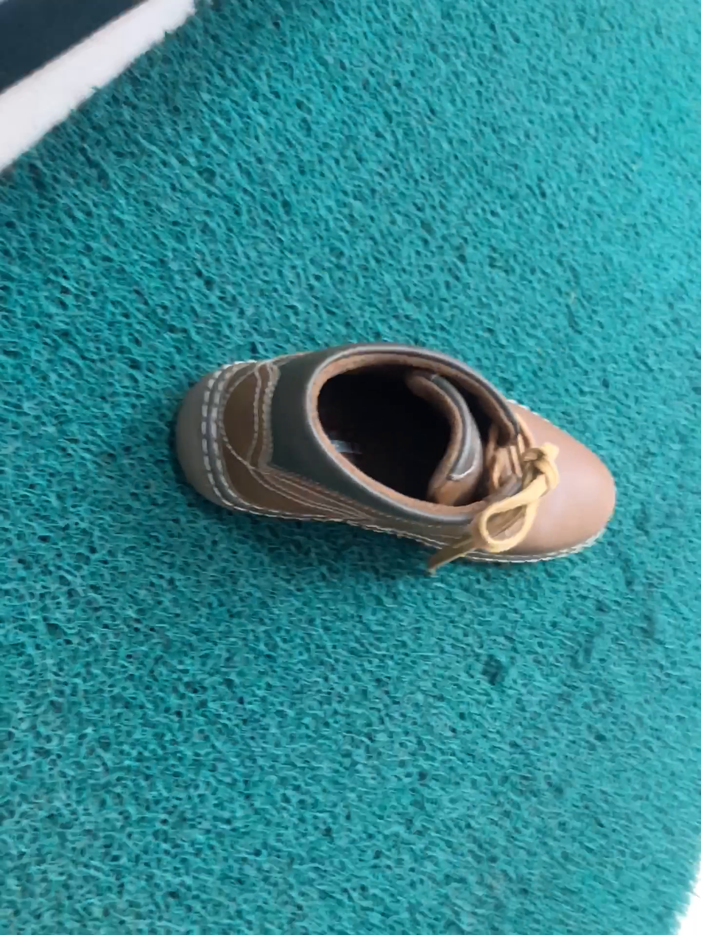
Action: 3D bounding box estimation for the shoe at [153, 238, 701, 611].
[{"bbox_3d":[0.061,0.001,0.379,0.282,0.080,0.100,15,74,-29],"label":"shoe"}]
